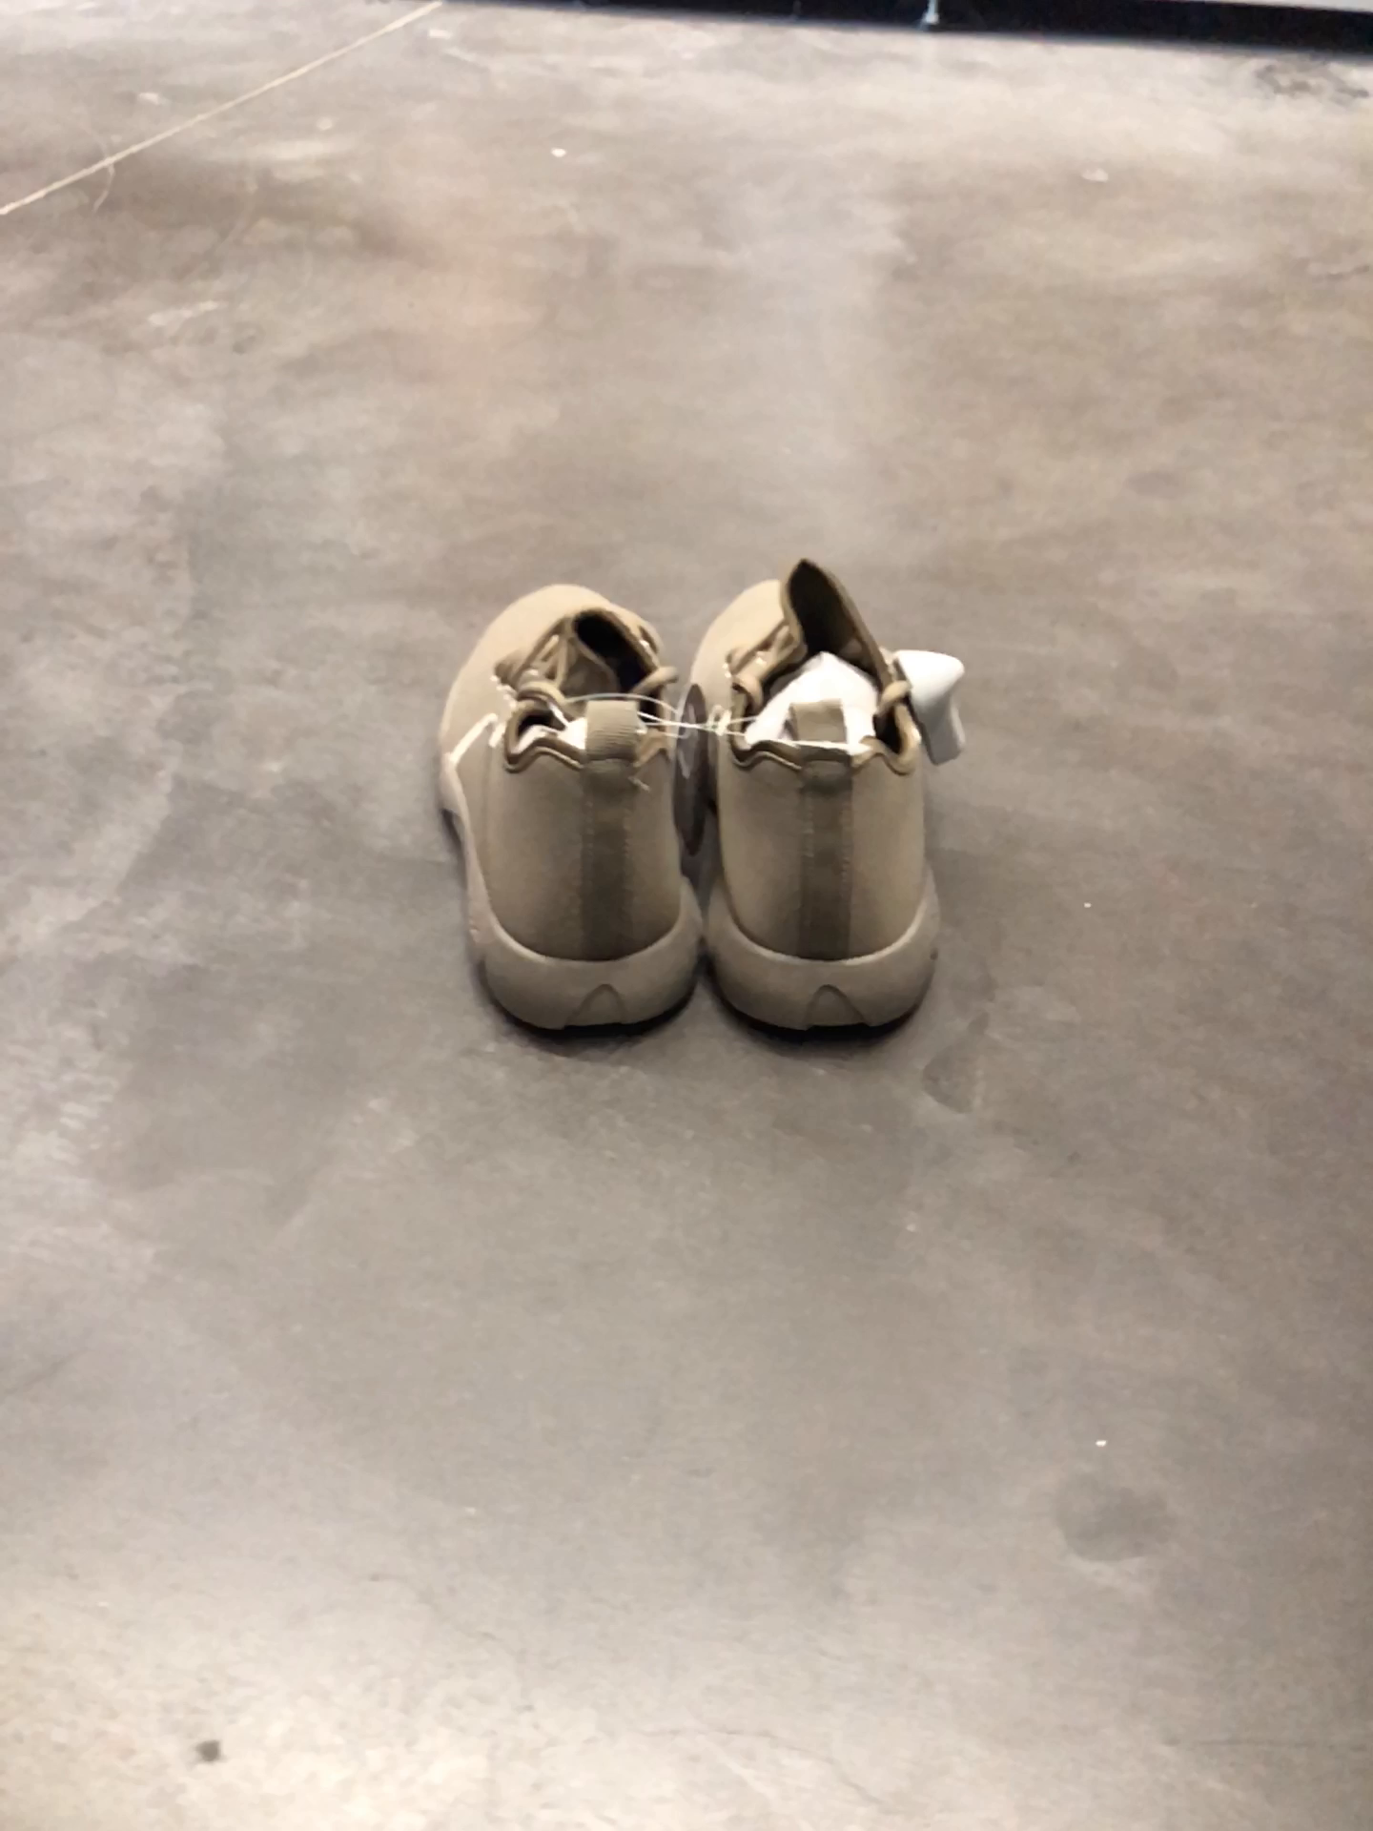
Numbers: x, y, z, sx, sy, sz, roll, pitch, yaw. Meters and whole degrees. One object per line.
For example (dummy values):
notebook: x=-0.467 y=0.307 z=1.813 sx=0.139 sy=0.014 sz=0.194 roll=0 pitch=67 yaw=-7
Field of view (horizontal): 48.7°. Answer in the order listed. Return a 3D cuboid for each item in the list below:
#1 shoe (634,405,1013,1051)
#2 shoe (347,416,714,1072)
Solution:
shoe: x=0.034 y=-0.079 z=0.536 sx=0.090 sy=0.109 sz=0.241 roll=-3 pitch=40 yaw=-4
shoe: x=-0.061 y=-0.074 z=0.539 sx=0.100 sy=0.109 sz=0.241 roll=-6 pitch=40 yaw=-7
